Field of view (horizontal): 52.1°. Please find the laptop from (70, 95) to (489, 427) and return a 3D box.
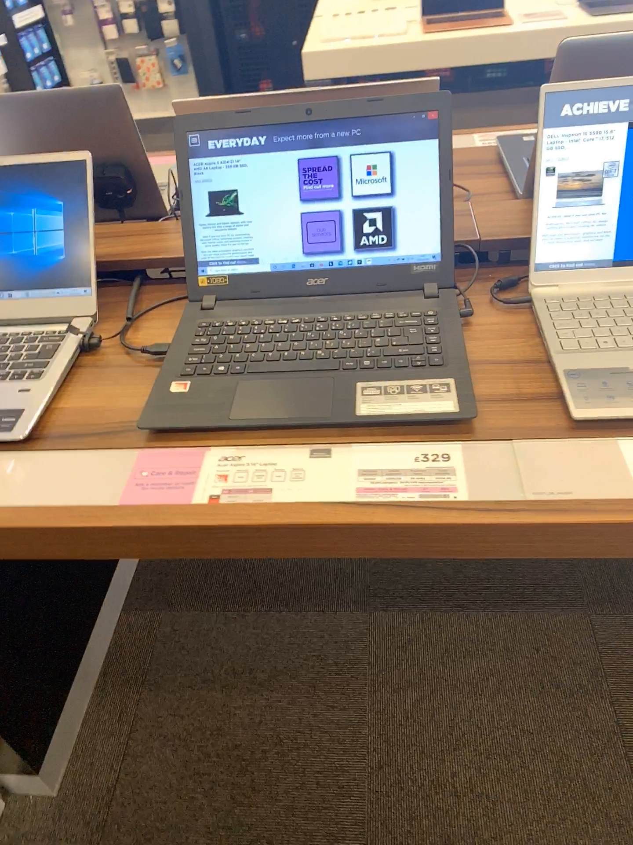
[{"bbox_3d":[-0.015,-0.187,0.694,0.324,0.193,0.357,-2,40,6],"label":"laptop"}]
